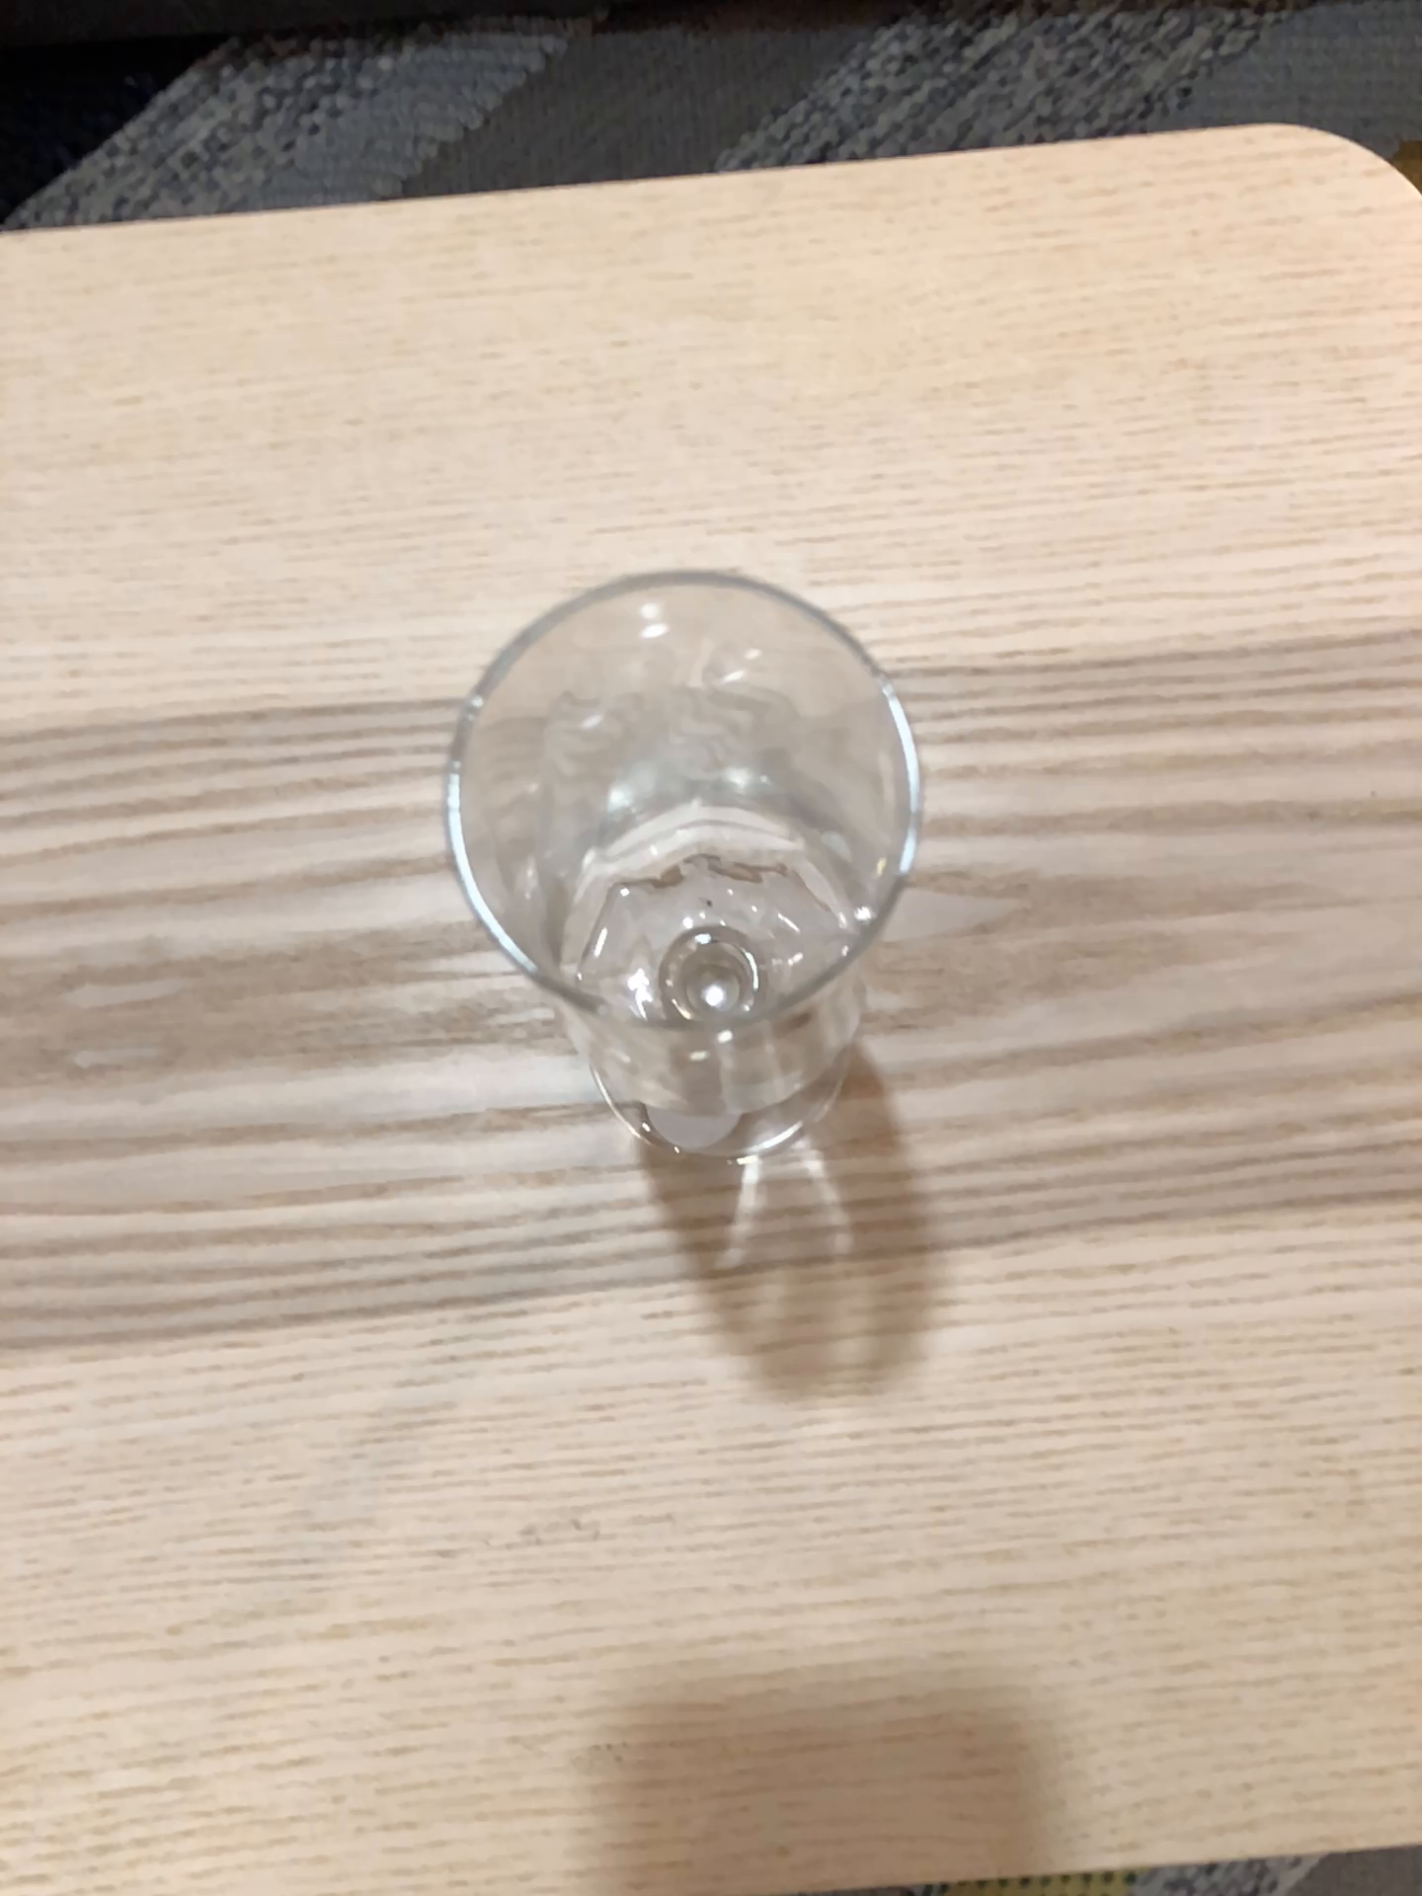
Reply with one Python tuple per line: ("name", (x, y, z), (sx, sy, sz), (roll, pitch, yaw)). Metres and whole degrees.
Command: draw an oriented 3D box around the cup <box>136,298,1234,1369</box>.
("cup", (-0.001, 0.005, 0.281), (0.080, 0.240, 0.080), (0, 81, 1))
